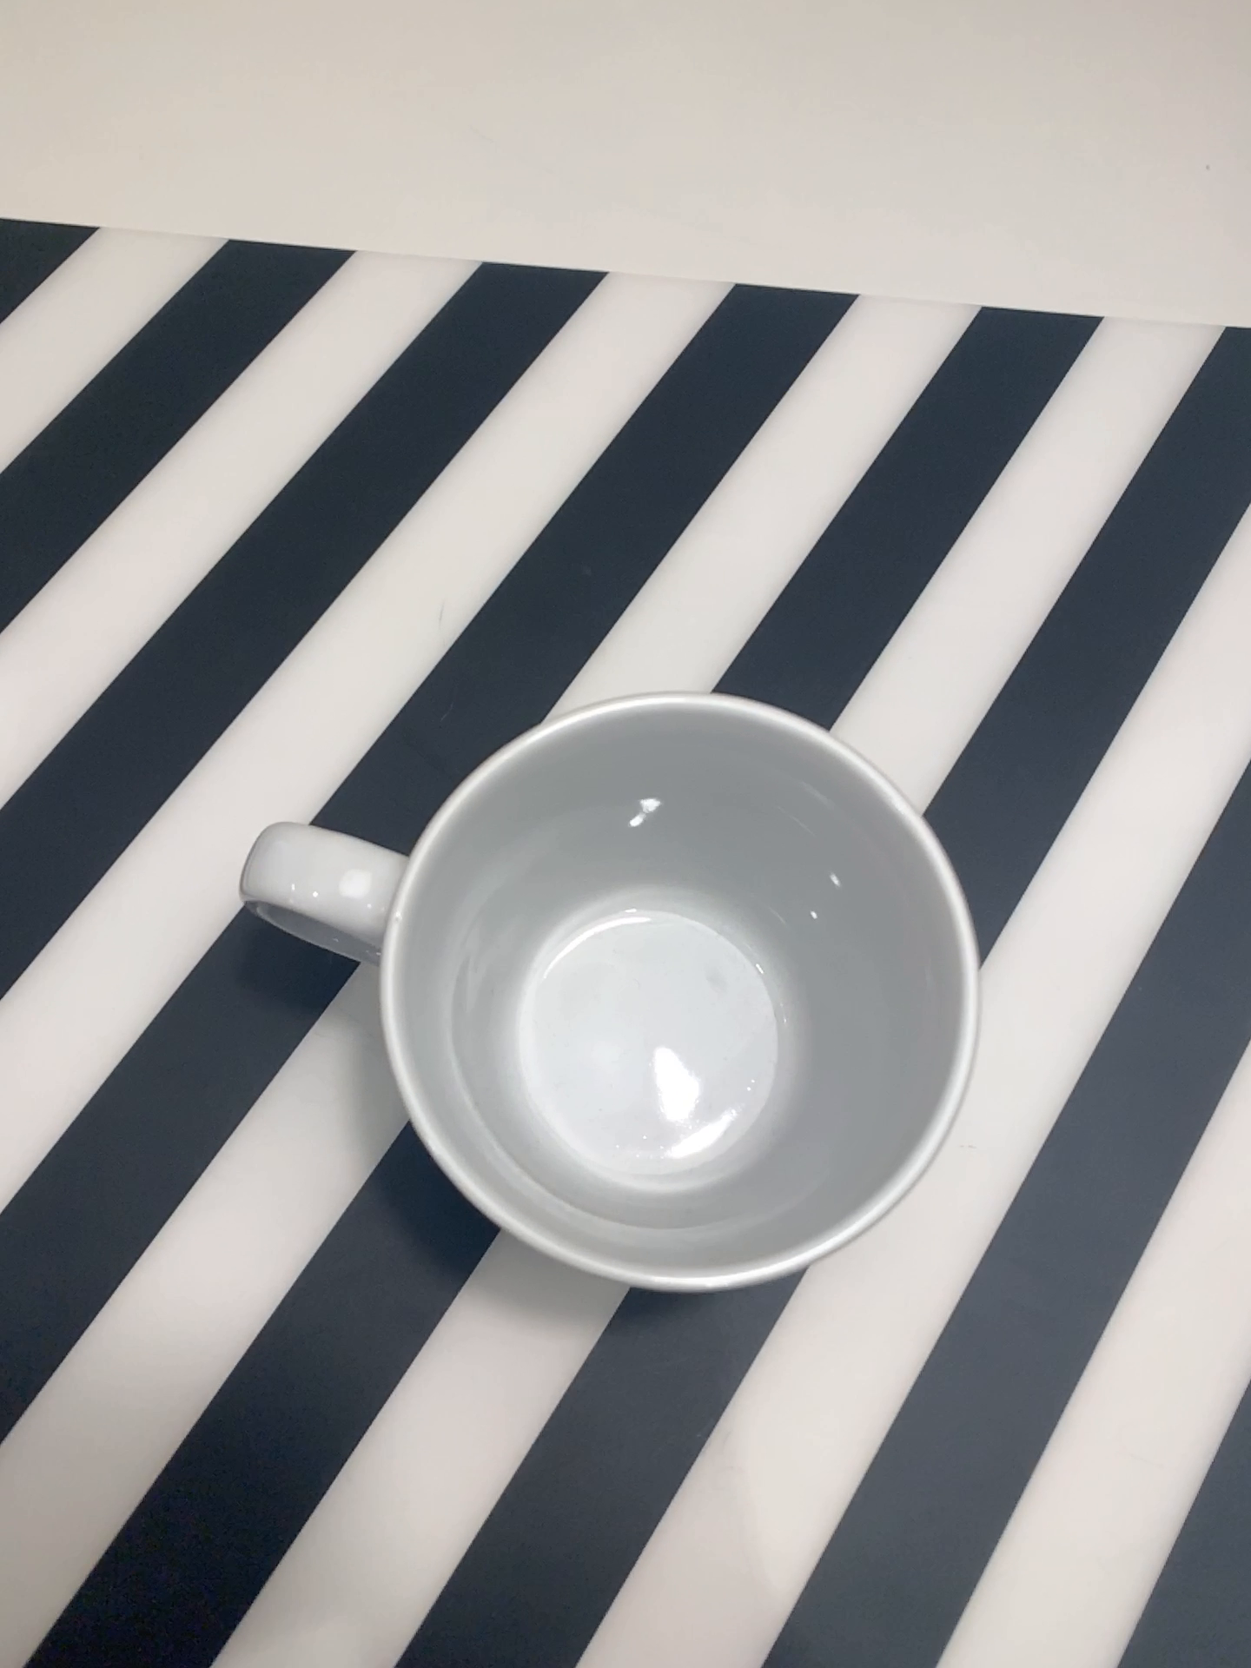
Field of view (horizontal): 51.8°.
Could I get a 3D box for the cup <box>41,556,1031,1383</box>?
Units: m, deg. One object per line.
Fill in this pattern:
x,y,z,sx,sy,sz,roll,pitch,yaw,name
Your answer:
-0.010,0.024,0.203,0.110,0.070,0.080,18,72,2,cup
